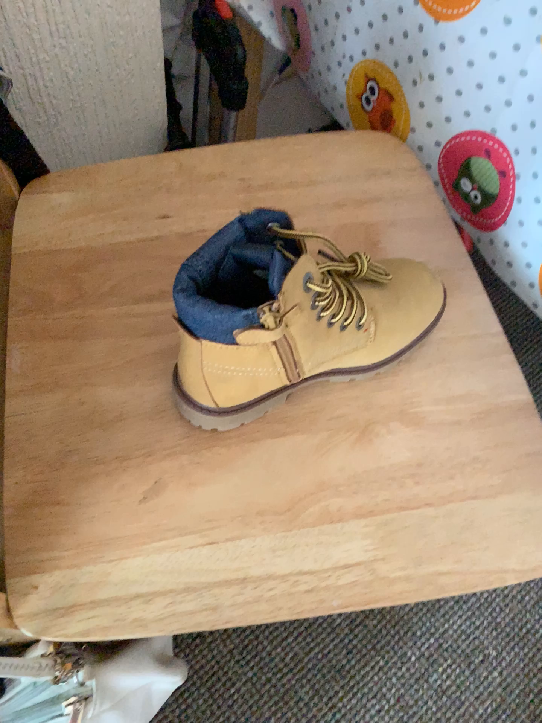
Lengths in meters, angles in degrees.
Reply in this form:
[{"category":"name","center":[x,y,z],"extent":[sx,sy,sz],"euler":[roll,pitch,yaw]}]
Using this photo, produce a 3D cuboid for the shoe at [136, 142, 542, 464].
[{"category":"shoe","center":[0.040,-0.039,0.389],"extent":[0.230,0.139,0.100],"euler":[-21,66,-17]}]
